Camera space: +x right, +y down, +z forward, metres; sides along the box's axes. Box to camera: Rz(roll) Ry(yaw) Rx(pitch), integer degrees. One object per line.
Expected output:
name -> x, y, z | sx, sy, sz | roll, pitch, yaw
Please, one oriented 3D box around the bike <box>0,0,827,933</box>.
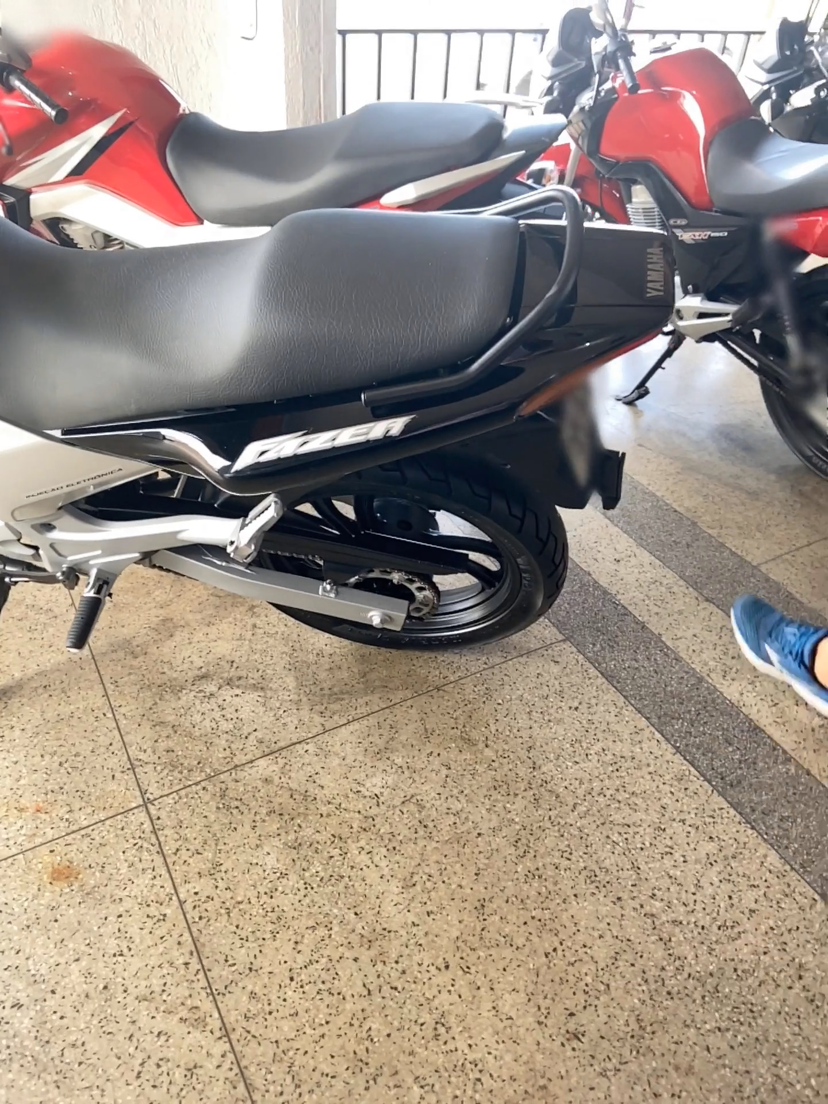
bike -> -0.626, -0.213, 1.359 | 1.878, 1.511, 0.848 | 1, 36, -7
